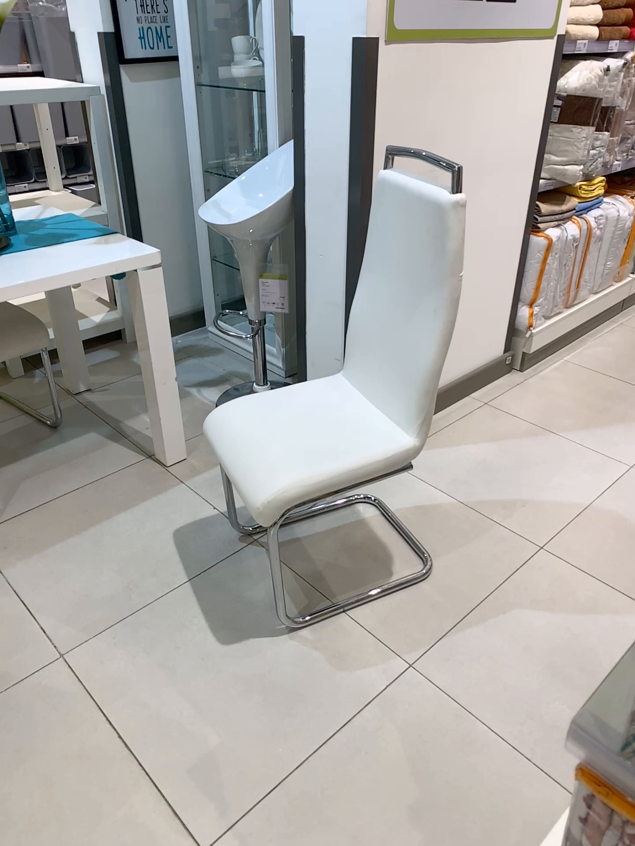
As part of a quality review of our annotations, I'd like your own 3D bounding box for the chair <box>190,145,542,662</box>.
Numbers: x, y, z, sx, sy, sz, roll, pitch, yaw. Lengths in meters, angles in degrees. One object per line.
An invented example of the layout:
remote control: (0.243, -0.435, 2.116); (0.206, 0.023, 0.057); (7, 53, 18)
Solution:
chair: (0.065, -0.050, 1.511); (0.520, 1.026, 0.482); (-12, 33, -20)
